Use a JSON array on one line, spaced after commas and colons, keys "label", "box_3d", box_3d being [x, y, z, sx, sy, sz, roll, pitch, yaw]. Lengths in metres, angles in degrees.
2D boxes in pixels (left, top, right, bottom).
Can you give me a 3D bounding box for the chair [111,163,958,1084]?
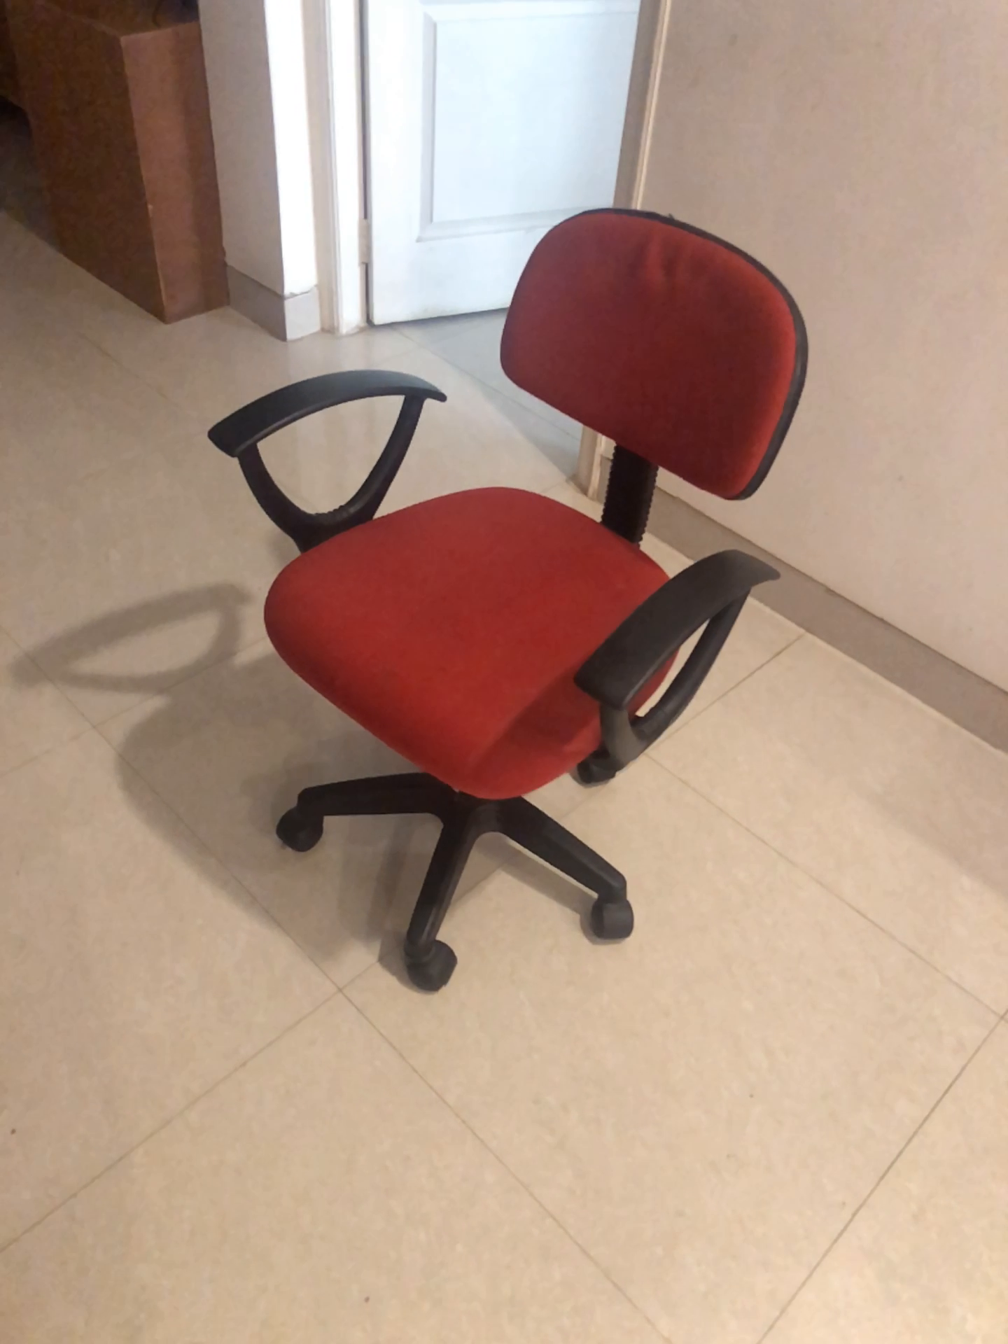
[{"label": "chair", "box_3d": [0.021, -0.077, 1.292, 0.542, 0.725, 0.603, 35, 51, 28]}]
